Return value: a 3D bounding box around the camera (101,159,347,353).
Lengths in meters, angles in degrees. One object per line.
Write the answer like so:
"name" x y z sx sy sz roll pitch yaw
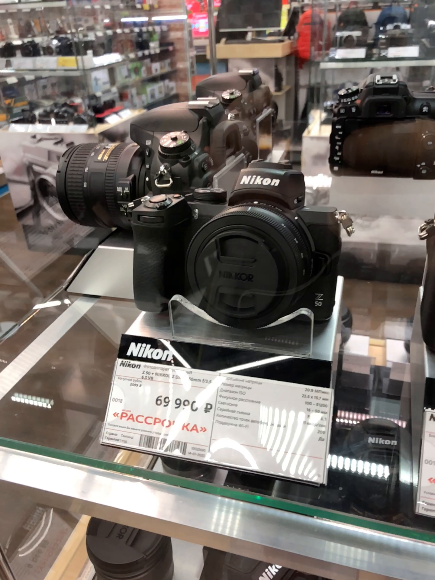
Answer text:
"camera" 0.009 -0.030 0.303 0.126 0.092 0.090 6 19 17

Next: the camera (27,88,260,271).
"camera" -0.054 -0.107 0.430 0.150 0.112 0.130 10 32 17
